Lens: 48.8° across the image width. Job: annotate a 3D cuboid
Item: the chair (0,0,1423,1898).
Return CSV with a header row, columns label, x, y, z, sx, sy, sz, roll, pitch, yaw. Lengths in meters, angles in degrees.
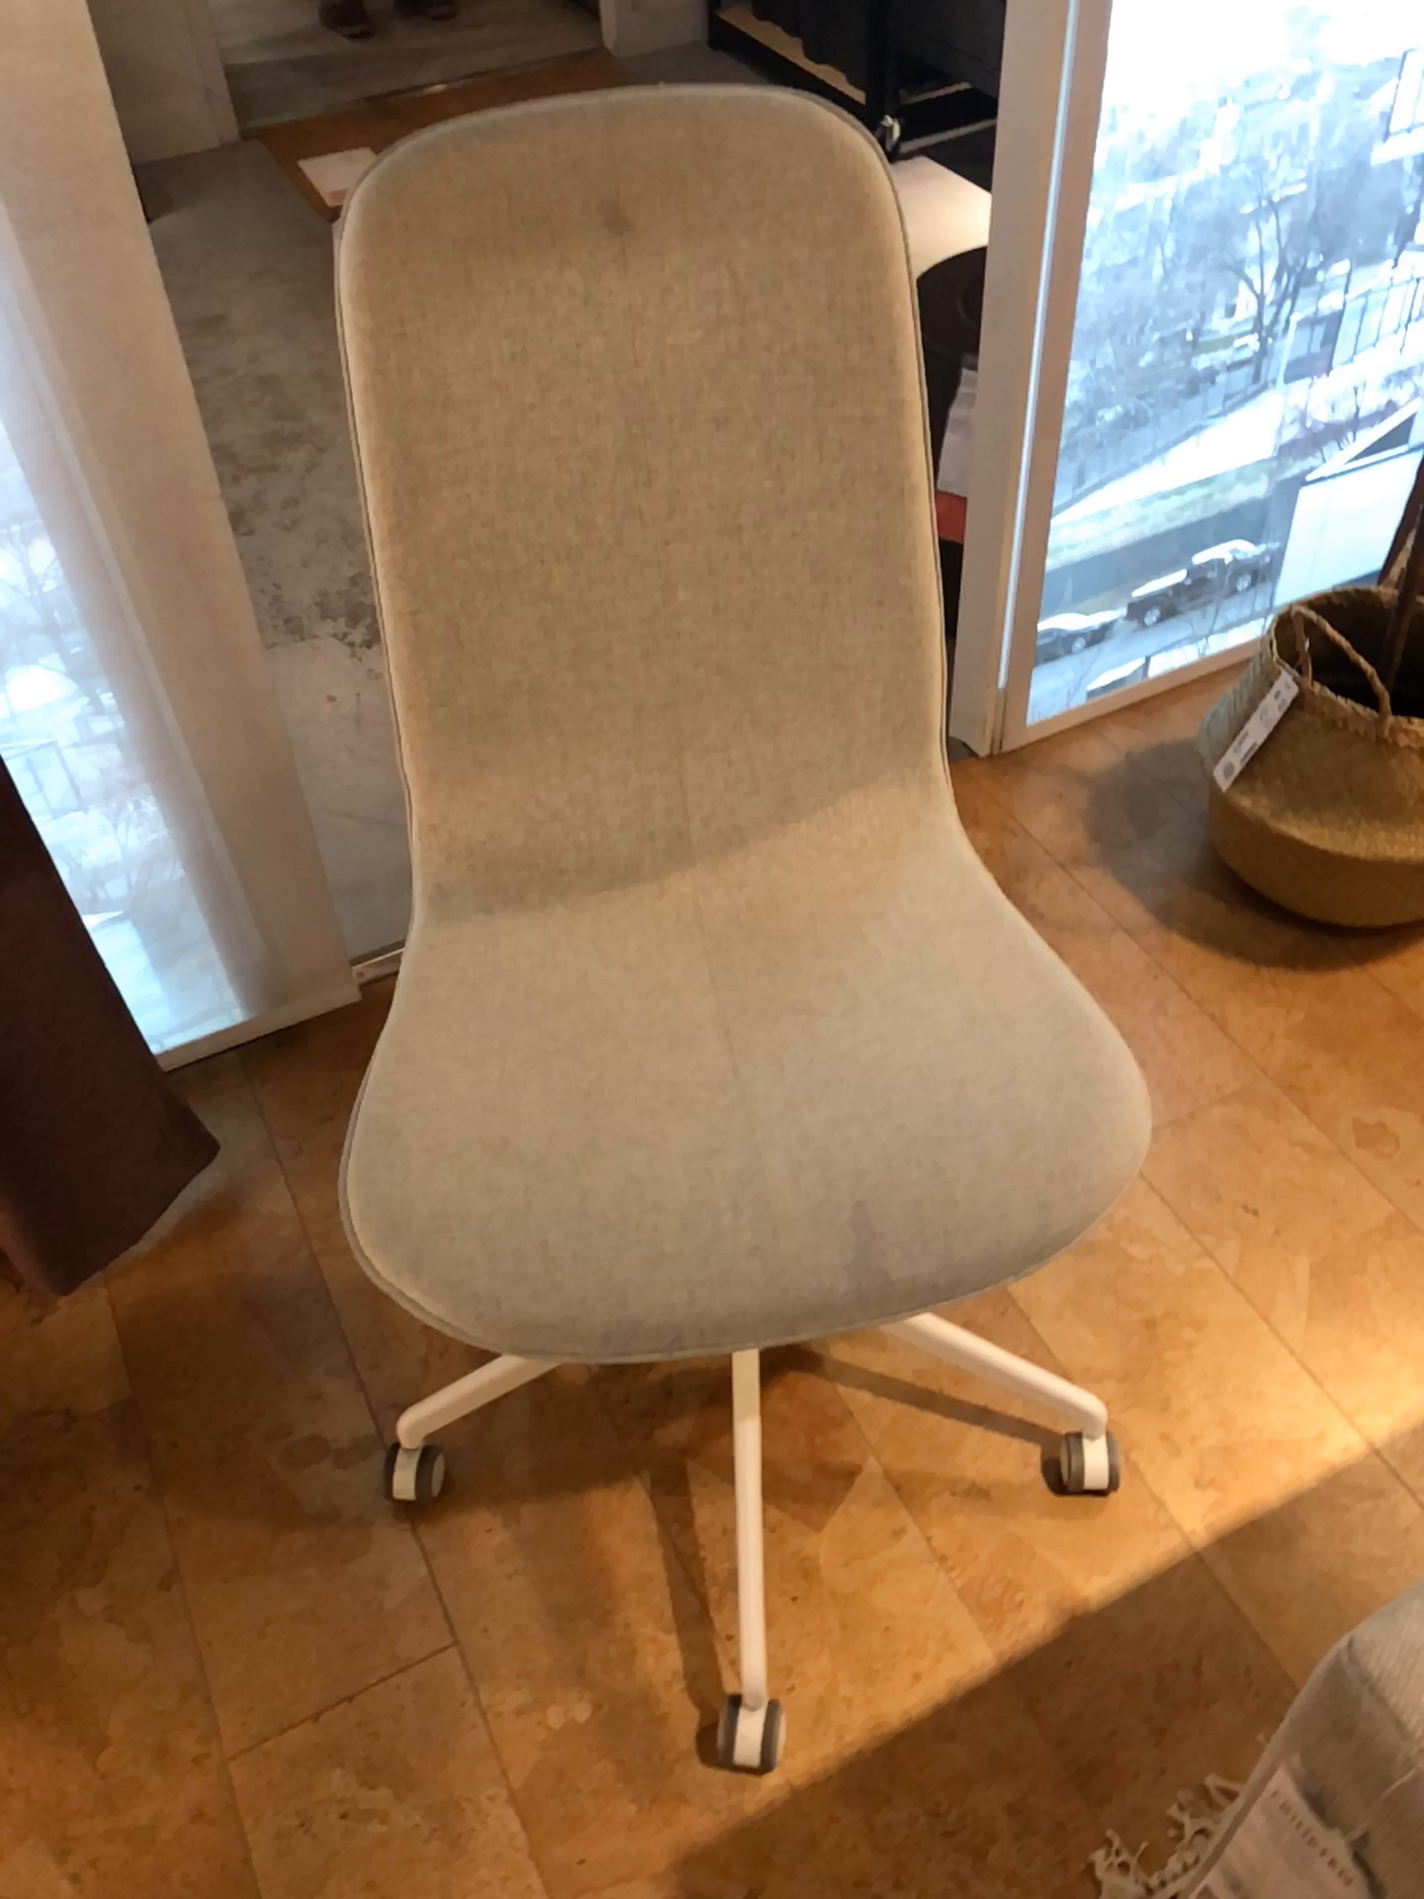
label,x,y,z,sx,sy,sz,roll,pitch,yaw
chair,-0.022,0.033,1.051,0.670,0.937,0.692,-13,47,-8
